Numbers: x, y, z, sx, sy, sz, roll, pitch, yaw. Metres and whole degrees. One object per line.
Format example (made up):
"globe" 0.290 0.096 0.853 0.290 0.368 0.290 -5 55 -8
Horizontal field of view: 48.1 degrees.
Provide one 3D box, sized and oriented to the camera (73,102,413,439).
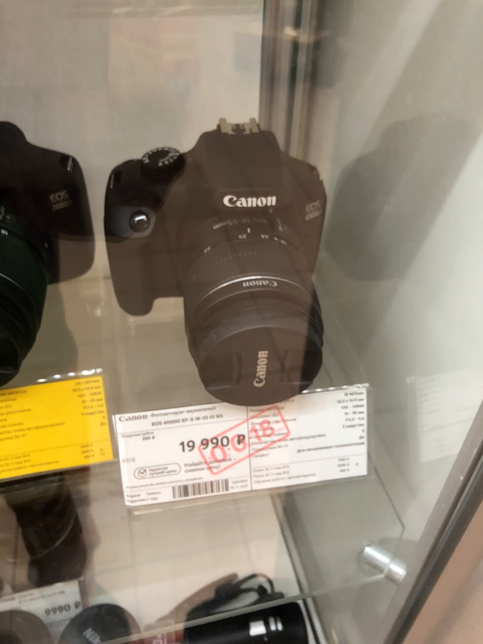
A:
"camera" -0.012 -0.038 0.282 0.125 0.099 0.147 -6 40 -10
